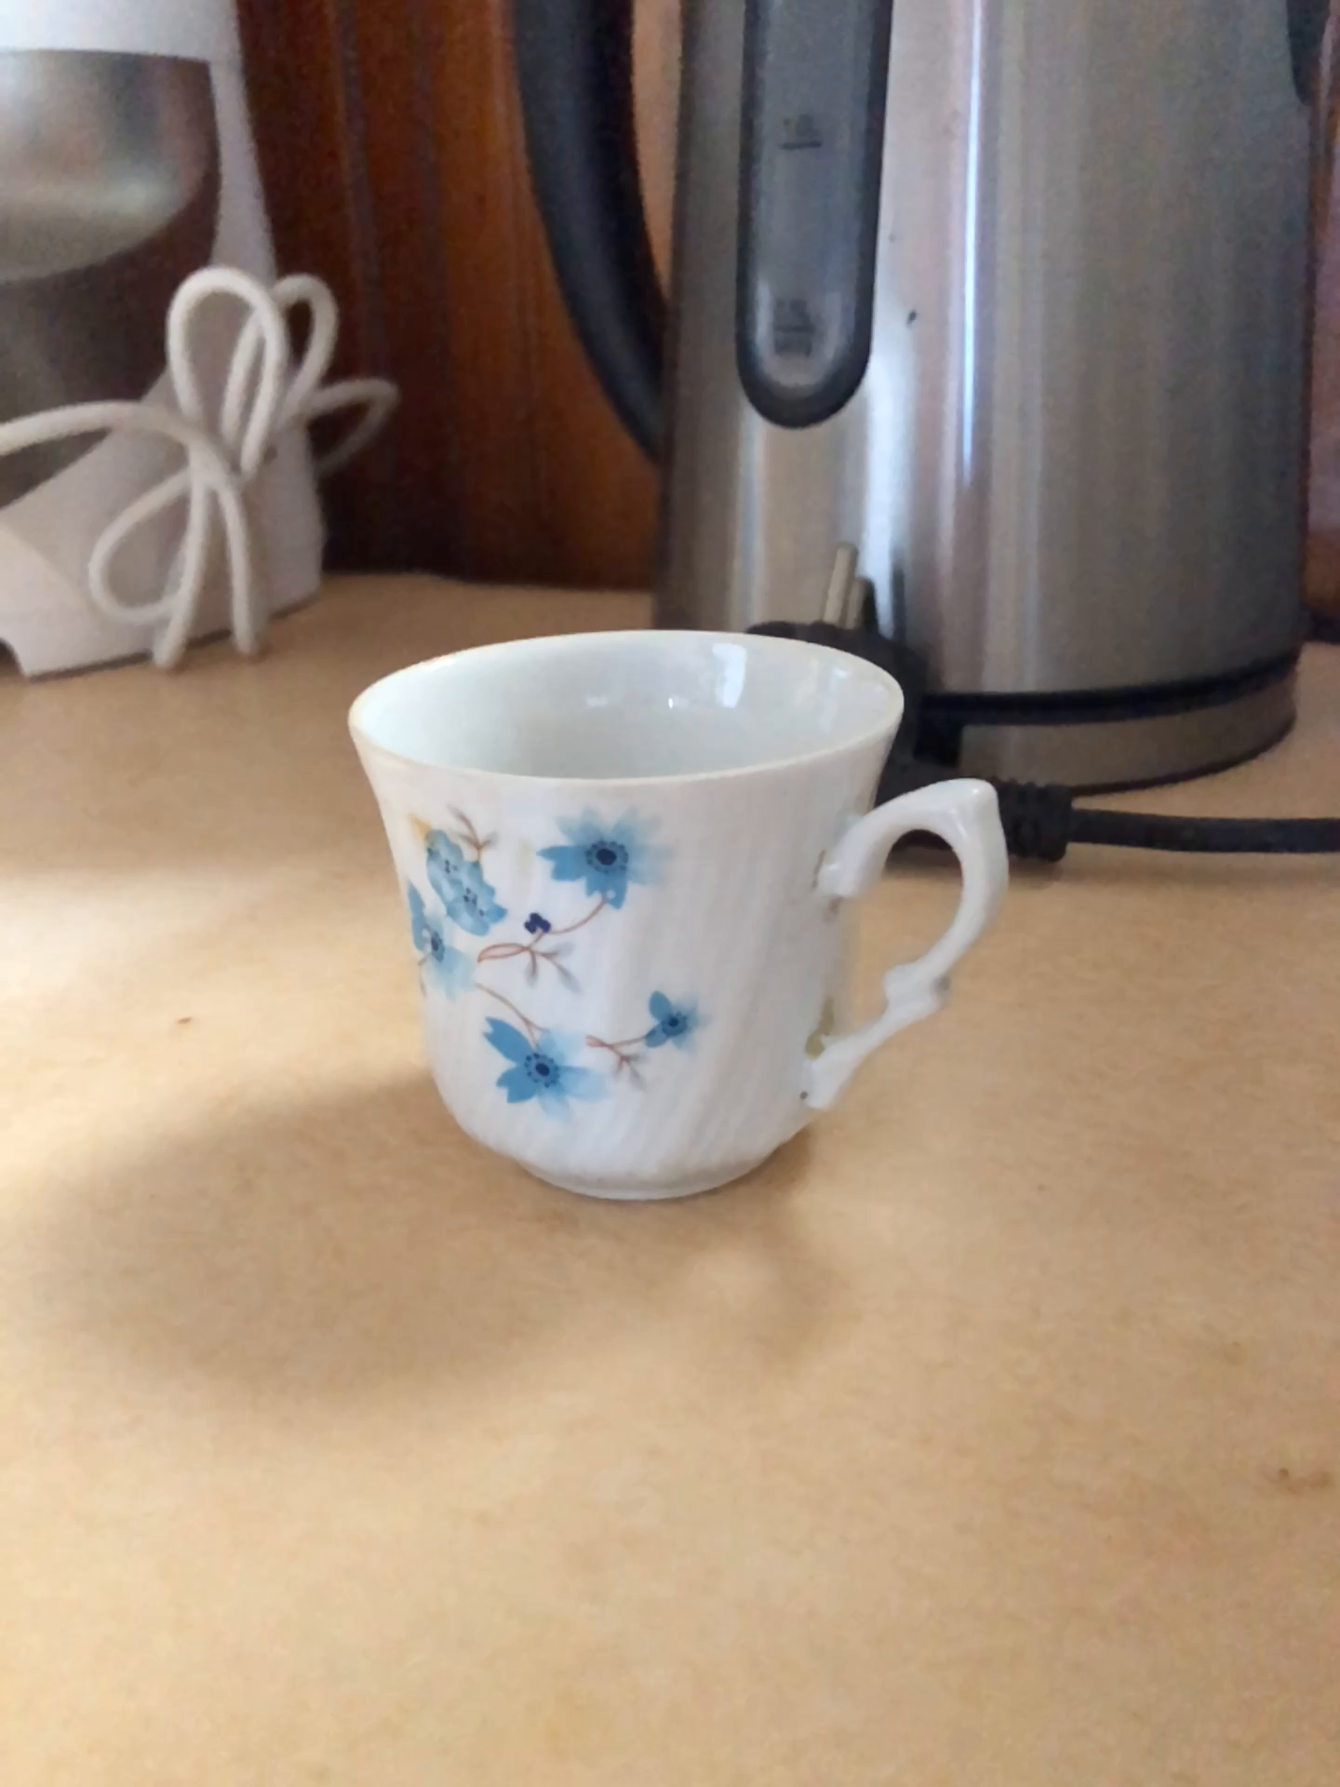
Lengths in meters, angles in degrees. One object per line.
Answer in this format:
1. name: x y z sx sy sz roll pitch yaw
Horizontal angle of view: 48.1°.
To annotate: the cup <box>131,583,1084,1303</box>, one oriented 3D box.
1. cup: -0.006 -0.004 0.189 0.090 0.050 0.070 13 27 31
